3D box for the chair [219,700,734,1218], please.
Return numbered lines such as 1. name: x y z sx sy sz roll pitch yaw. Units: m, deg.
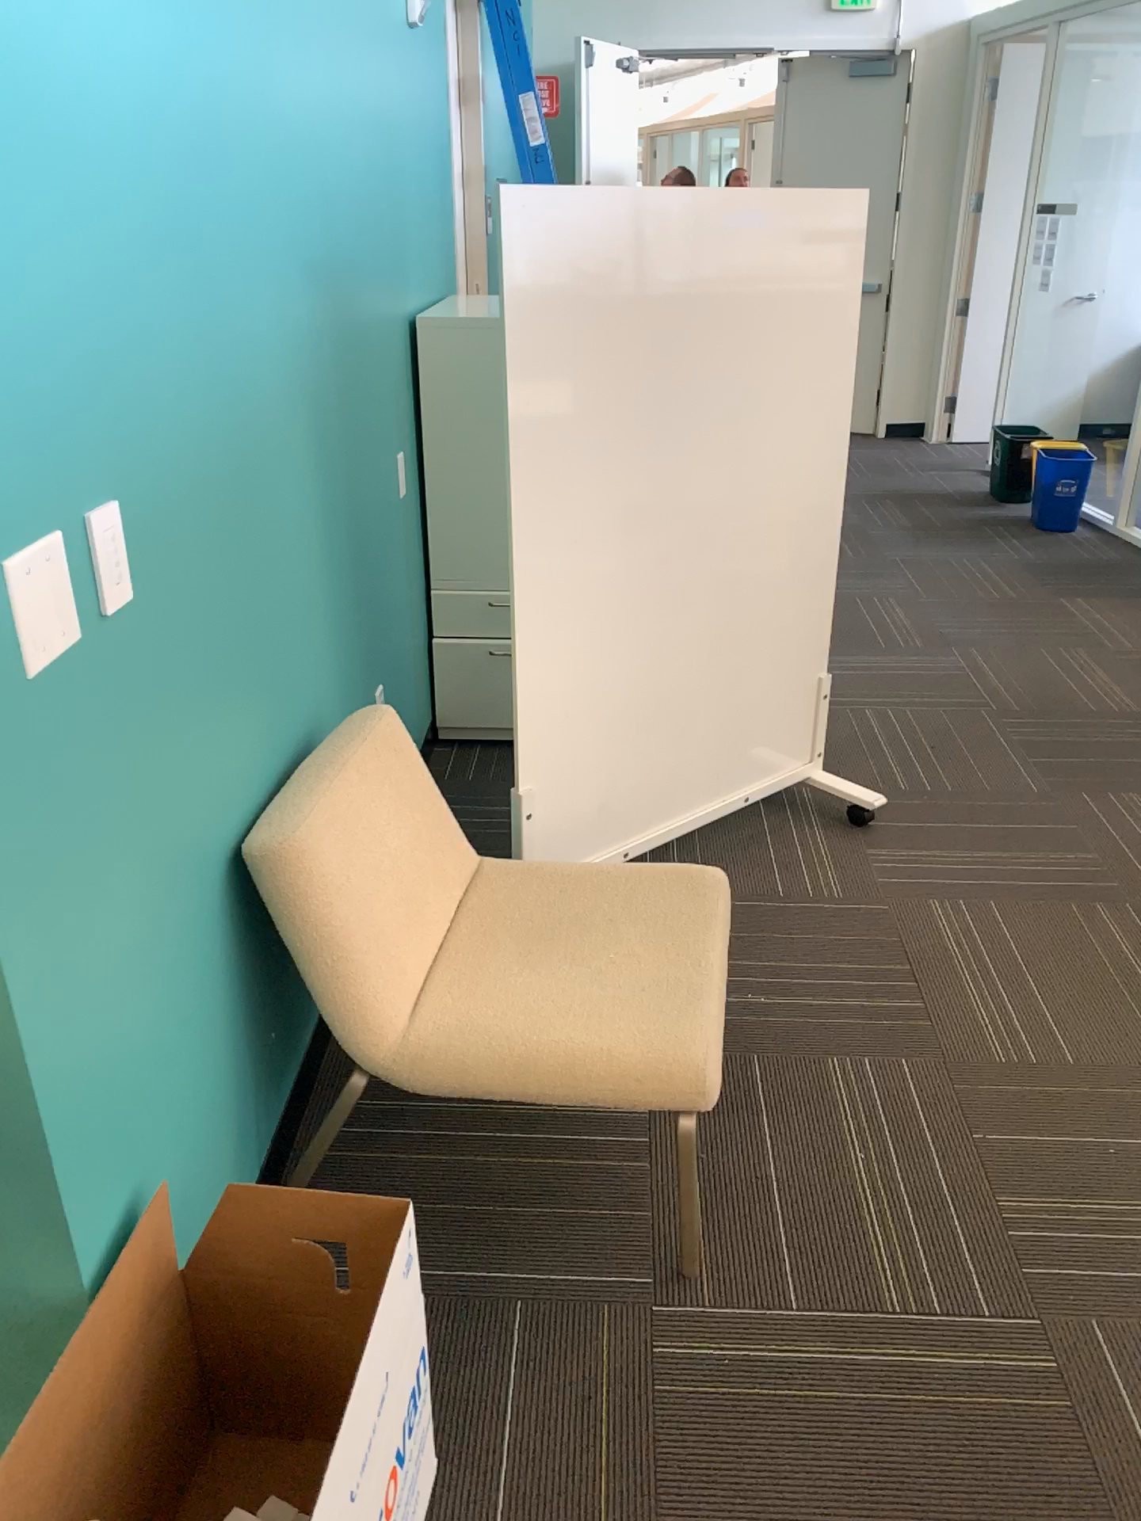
1. chair: -0.099 0.299 2.036 0.730 0.567 0.663 3 26 6
